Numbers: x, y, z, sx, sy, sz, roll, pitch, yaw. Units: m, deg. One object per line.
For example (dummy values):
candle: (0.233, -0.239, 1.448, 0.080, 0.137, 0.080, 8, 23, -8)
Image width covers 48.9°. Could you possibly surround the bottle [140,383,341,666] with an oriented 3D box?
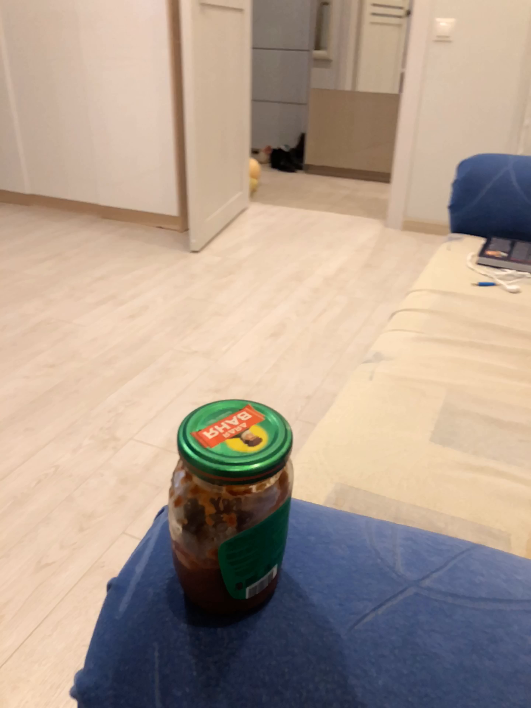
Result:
bottle: (-0.014, 0.075, 0.269, 0.060, 0.092, 0.060, 3, 30, -2)
